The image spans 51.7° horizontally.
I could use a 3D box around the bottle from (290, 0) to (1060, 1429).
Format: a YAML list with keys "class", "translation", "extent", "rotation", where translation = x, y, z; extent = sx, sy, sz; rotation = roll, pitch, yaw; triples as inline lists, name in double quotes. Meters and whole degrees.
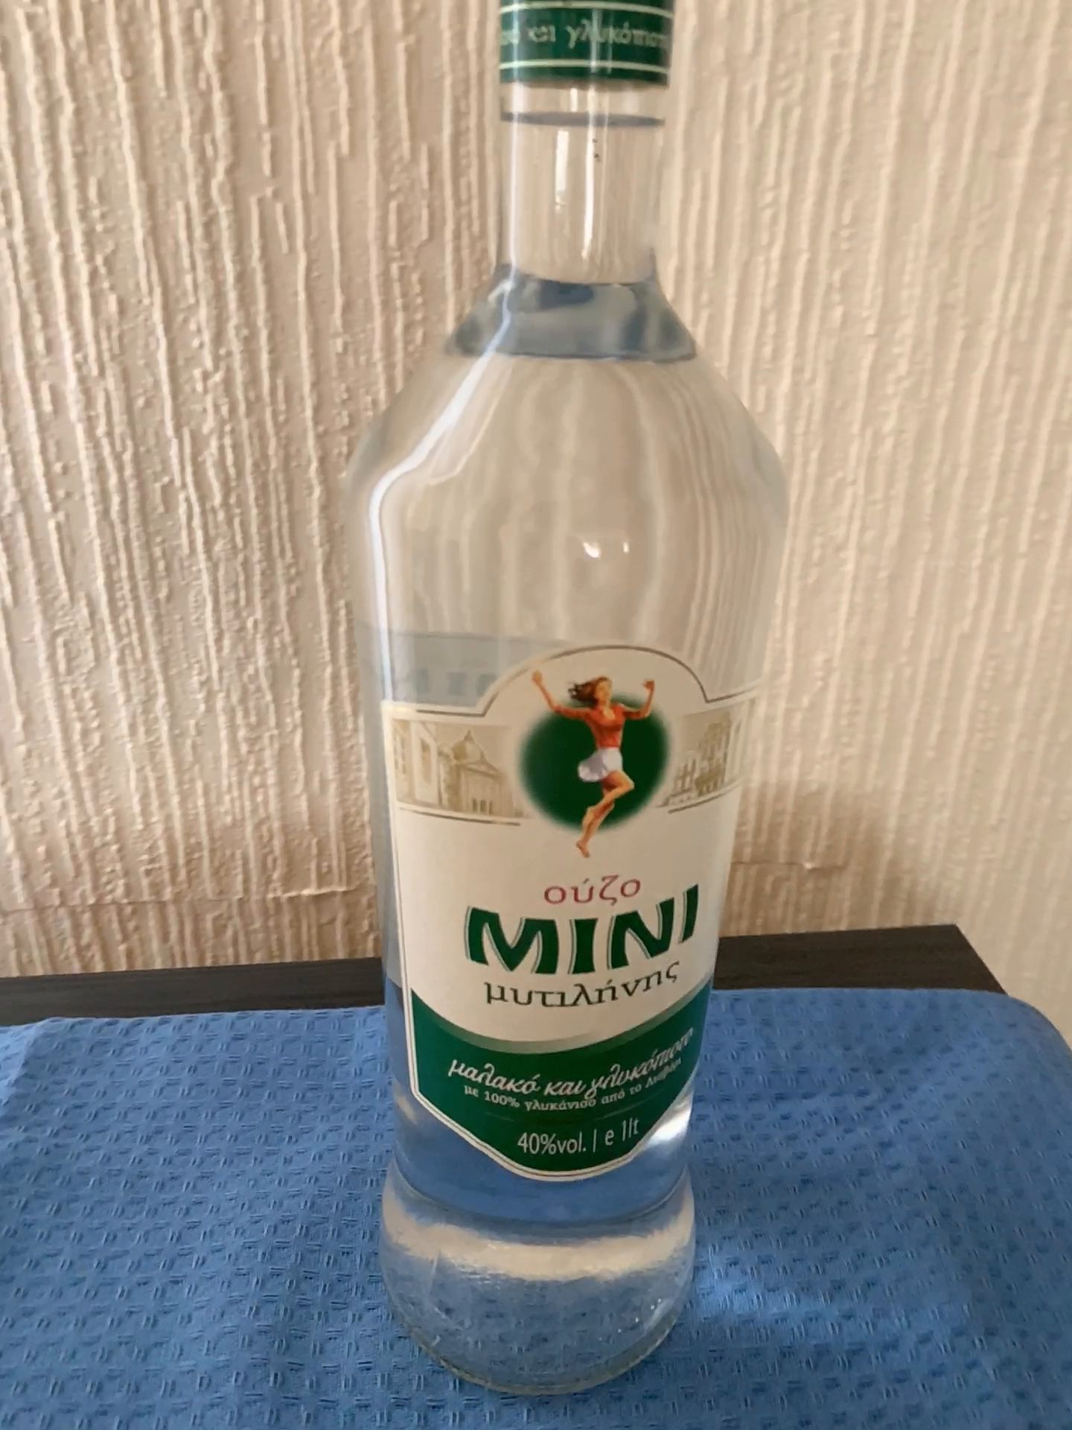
- class: "bottle"
  translation: [0.010, 0.010, 0.228]
  extent: [0.090, 0.317, 0.071]
  rotation: [-1, 26, -5]
